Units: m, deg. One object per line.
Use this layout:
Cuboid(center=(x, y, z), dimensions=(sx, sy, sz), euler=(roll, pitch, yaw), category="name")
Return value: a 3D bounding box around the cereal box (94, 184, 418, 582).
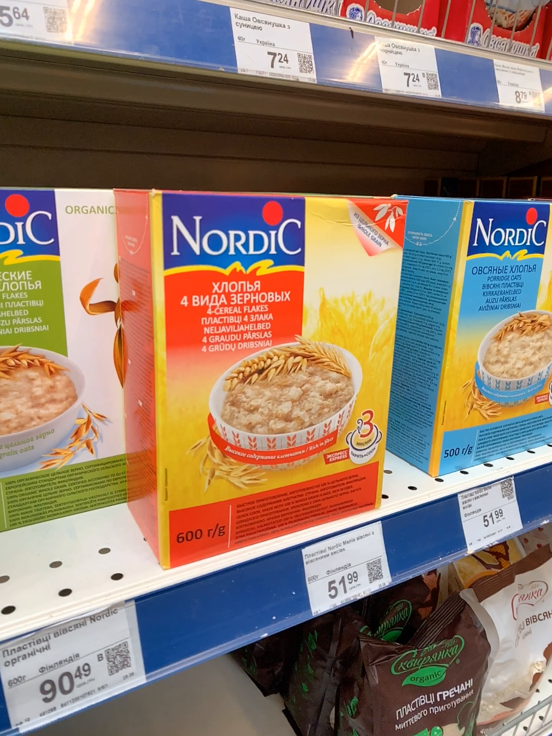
Cuboid(center=(-0.013, -0.004, 0.326), dimensions=(0.150, 0.189, 0.080), euler=(-8, 19, -27), category="cereal box")
